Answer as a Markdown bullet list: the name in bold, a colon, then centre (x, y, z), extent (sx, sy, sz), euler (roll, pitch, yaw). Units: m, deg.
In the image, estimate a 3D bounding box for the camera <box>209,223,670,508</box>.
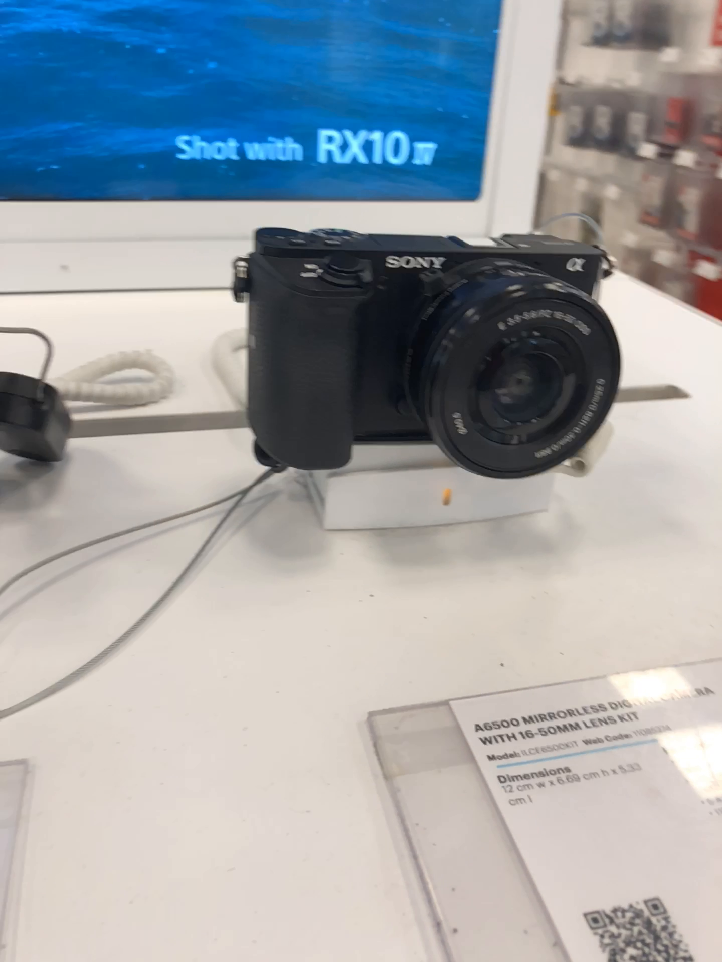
- **camera**: centre (0.019, -0.044, 0.271), extent (0.130, 0.070, 0.070), euler (-5, 28, -14)
